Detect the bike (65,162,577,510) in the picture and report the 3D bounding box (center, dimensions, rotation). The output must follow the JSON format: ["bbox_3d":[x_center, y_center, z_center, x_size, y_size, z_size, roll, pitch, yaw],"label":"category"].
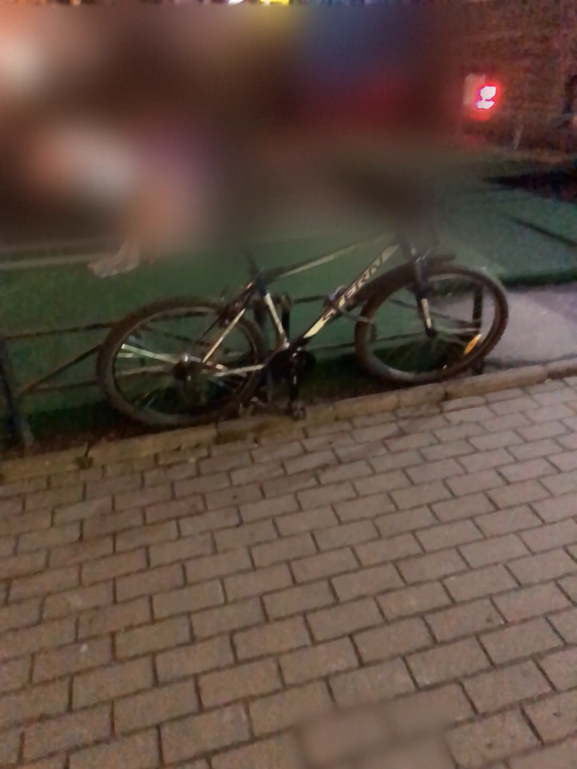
[{"bbox_3d":[0.120,-0.221,2.081,1.456,0.883,0.533,-7,26,-13],"label":"bike"}]
